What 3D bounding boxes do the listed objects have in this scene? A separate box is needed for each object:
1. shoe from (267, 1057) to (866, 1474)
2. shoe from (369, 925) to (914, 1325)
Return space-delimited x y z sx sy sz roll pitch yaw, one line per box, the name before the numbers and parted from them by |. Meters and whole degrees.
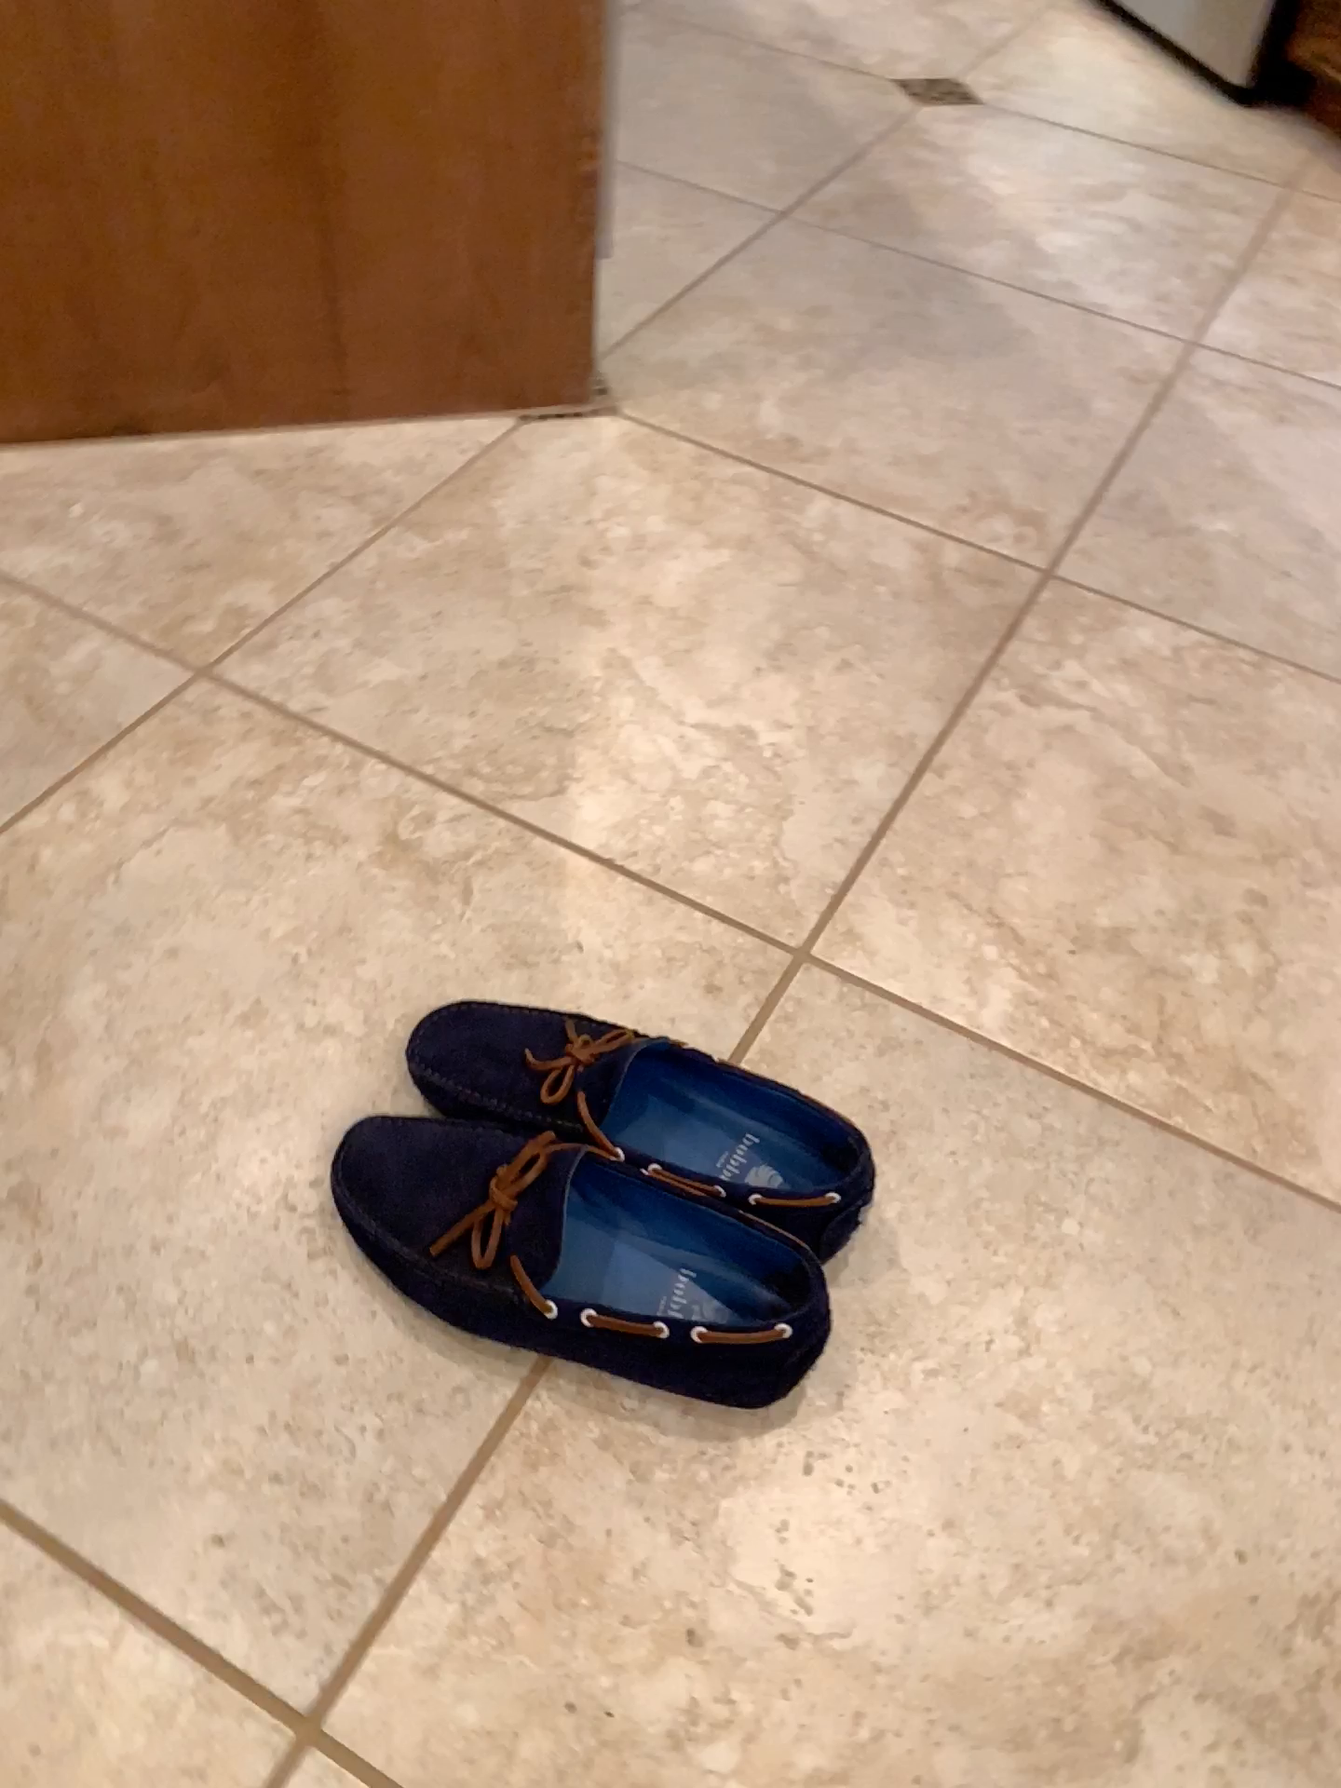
shoe | -0.053 0.188 0.713 0.281 0.074 0.099 18 49 10
shoe | -0.019 0.125 0.775 0.281 0.074 0.099 21 50 13
